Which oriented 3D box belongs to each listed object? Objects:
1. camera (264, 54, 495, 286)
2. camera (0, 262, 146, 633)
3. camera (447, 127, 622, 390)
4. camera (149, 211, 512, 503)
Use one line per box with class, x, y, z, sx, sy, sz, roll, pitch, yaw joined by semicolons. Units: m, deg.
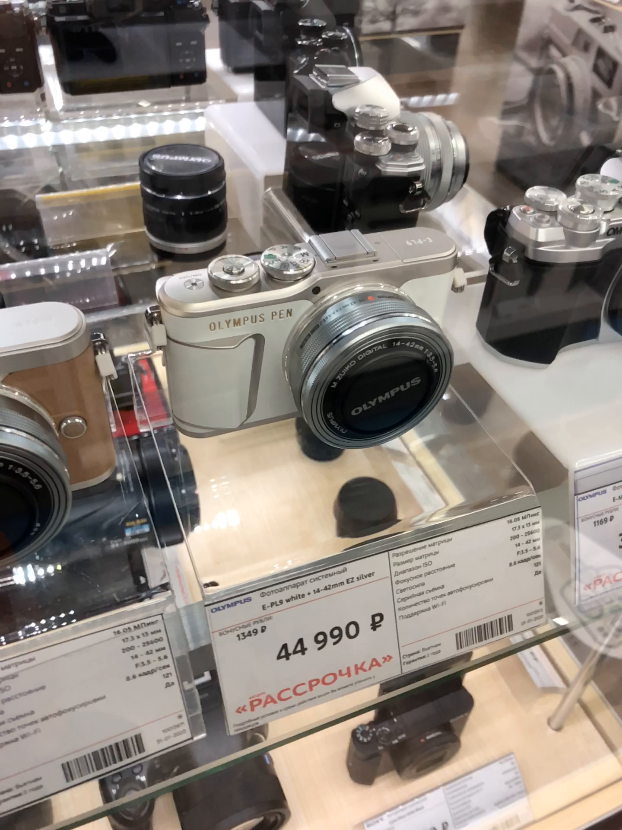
camera;0.028;-0.135;0.370;0.072;0.072;0.115;-14;45;-18
camera;-0.106;0.007;0.214;0.087;0.072;0.061;-15;46;-19
camera;0.125;-0.067;0.286;0.114;0.072;0.053;-15;45;-19
camera;0.006;-0.025;0.263;0.114;0.070;0.053;-15;45;-19
